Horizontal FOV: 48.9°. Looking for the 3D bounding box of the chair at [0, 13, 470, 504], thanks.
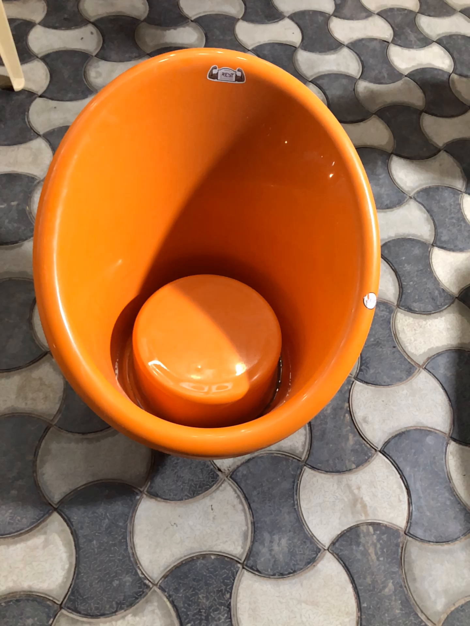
[{"bbox_3d":[-0.074,-0.065,1.056,0.660,0.667,0.723,1,56,-3],"label":"chair"}]
